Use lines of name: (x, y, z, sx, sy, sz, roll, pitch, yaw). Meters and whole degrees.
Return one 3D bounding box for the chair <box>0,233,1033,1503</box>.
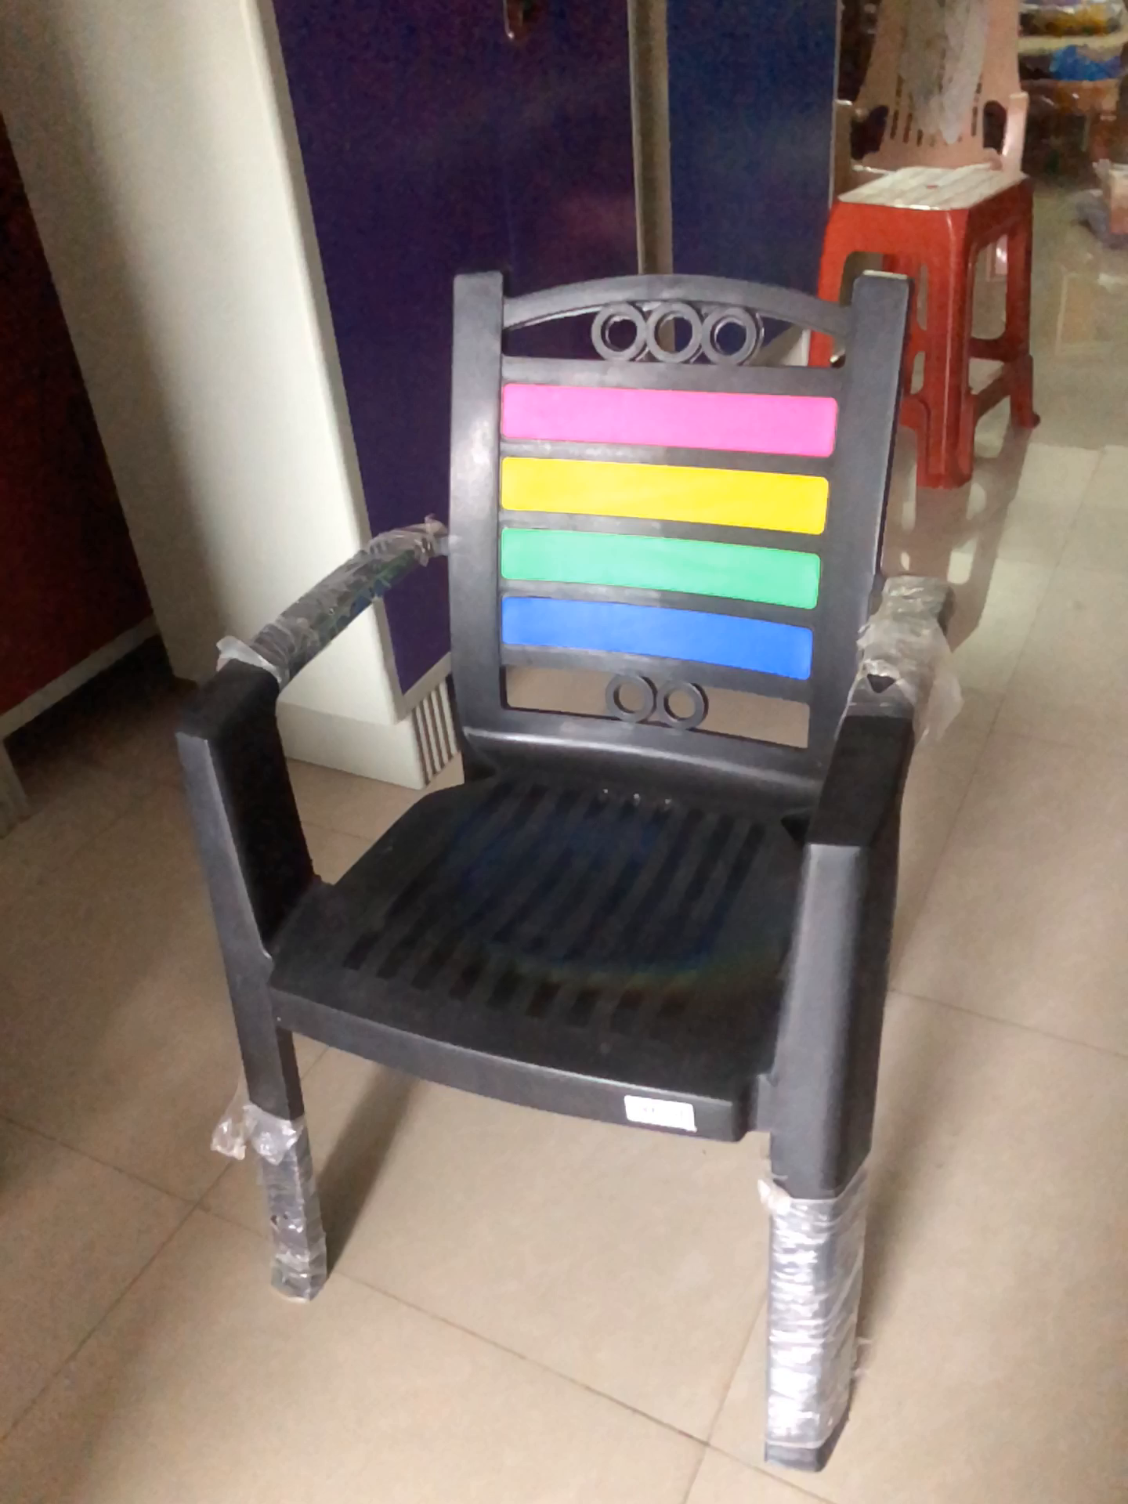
chair: (0.025, 0.086, 1.201, 0.640, 0.975, 0.613, 10, 38, 22)
